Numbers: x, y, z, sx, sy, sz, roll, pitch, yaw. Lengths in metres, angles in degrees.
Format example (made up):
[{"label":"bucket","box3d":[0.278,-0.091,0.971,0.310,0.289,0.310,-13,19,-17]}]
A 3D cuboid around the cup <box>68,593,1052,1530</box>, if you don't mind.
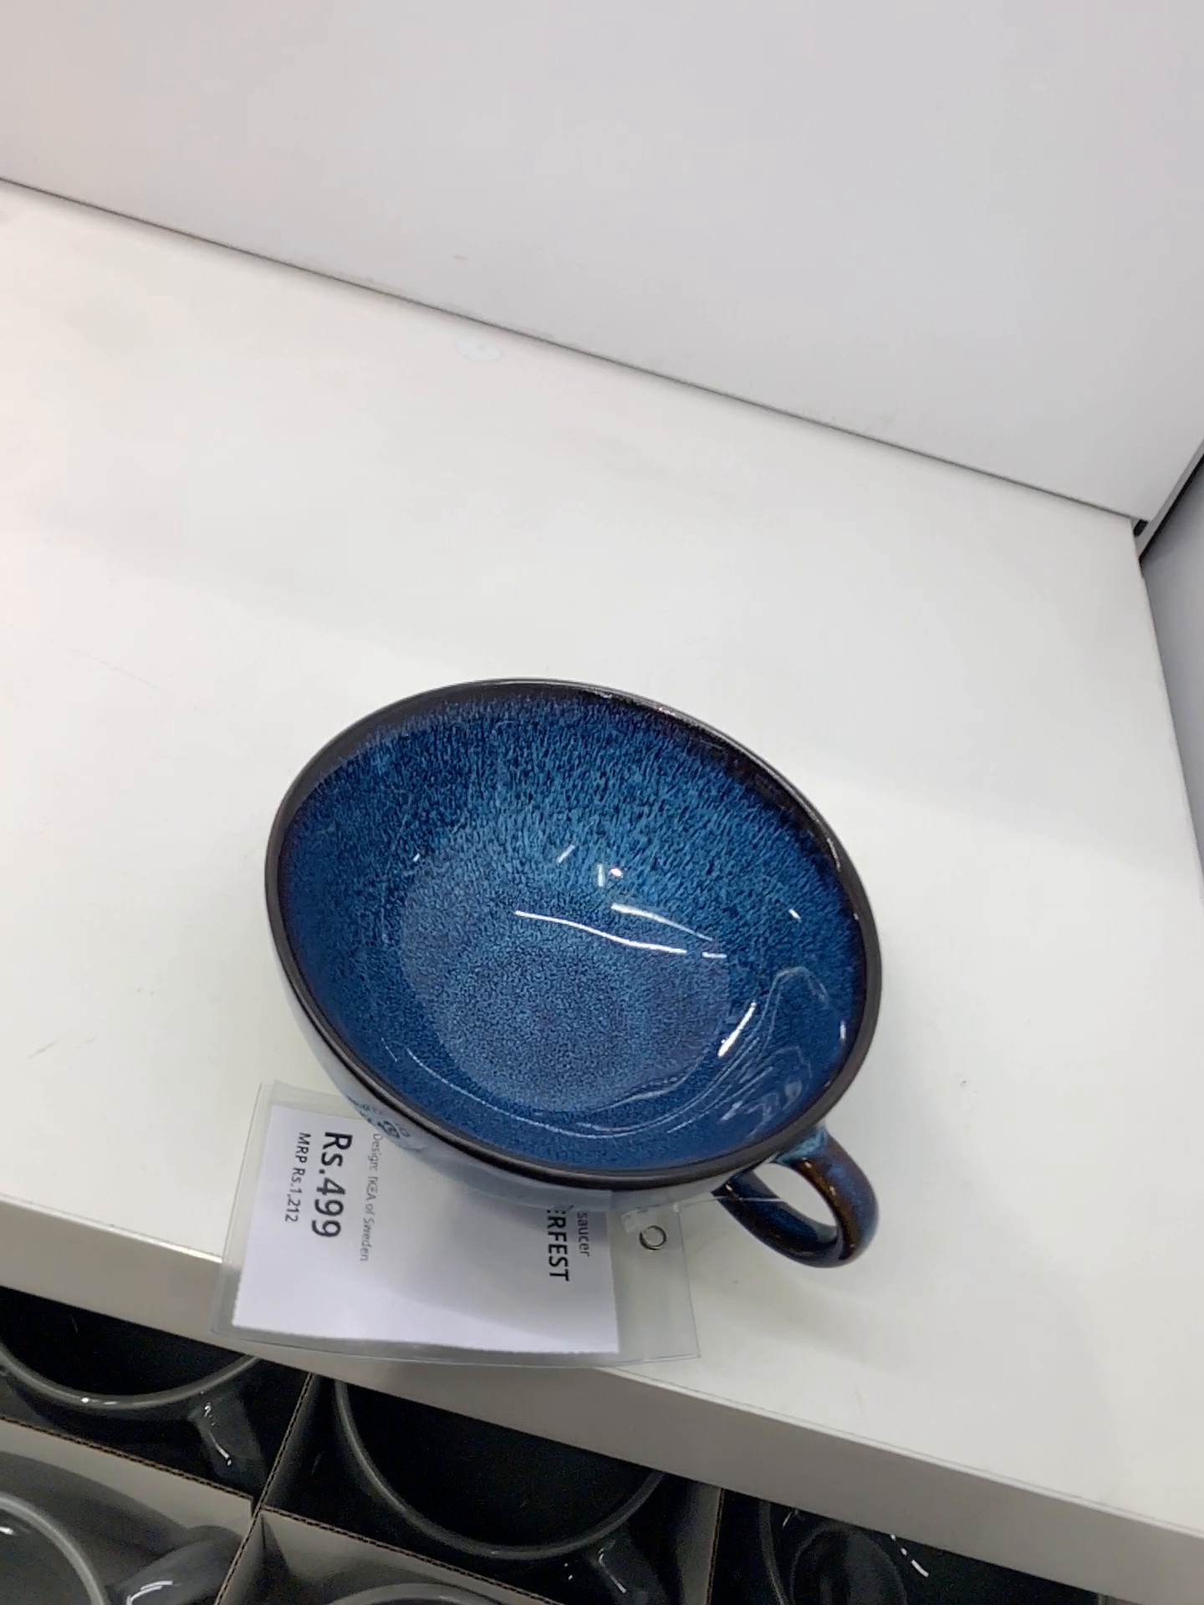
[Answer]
[{"label":"cup","box3d":[-0.009,0.037,0.272,0.160,0.050,0.130,38,48,20]}]
